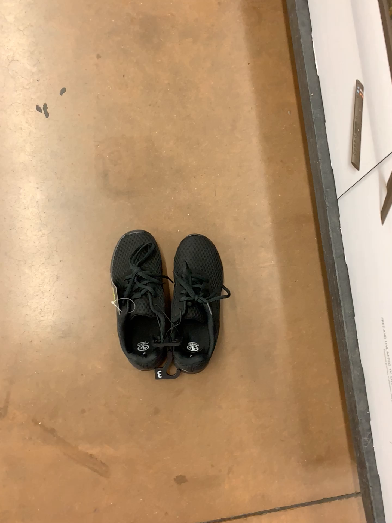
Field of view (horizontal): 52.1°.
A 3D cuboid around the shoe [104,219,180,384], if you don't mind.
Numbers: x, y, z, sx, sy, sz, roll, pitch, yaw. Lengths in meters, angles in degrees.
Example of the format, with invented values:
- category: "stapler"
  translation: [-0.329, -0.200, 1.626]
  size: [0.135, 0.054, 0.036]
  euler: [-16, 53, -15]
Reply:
- category: "shoe"
  translation: [-0.084, 0.059, 0.622]
  size: [0.090, 0.080, 0.230]
  euler: [-5, 85, -7]

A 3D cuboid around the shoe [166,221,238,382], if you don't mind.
- category: "shoe"
  translation: [0.008, 0.061, 0.626]
  size: [0.090, 0.080, 0.230]
  euler: [4, 84, -6]
